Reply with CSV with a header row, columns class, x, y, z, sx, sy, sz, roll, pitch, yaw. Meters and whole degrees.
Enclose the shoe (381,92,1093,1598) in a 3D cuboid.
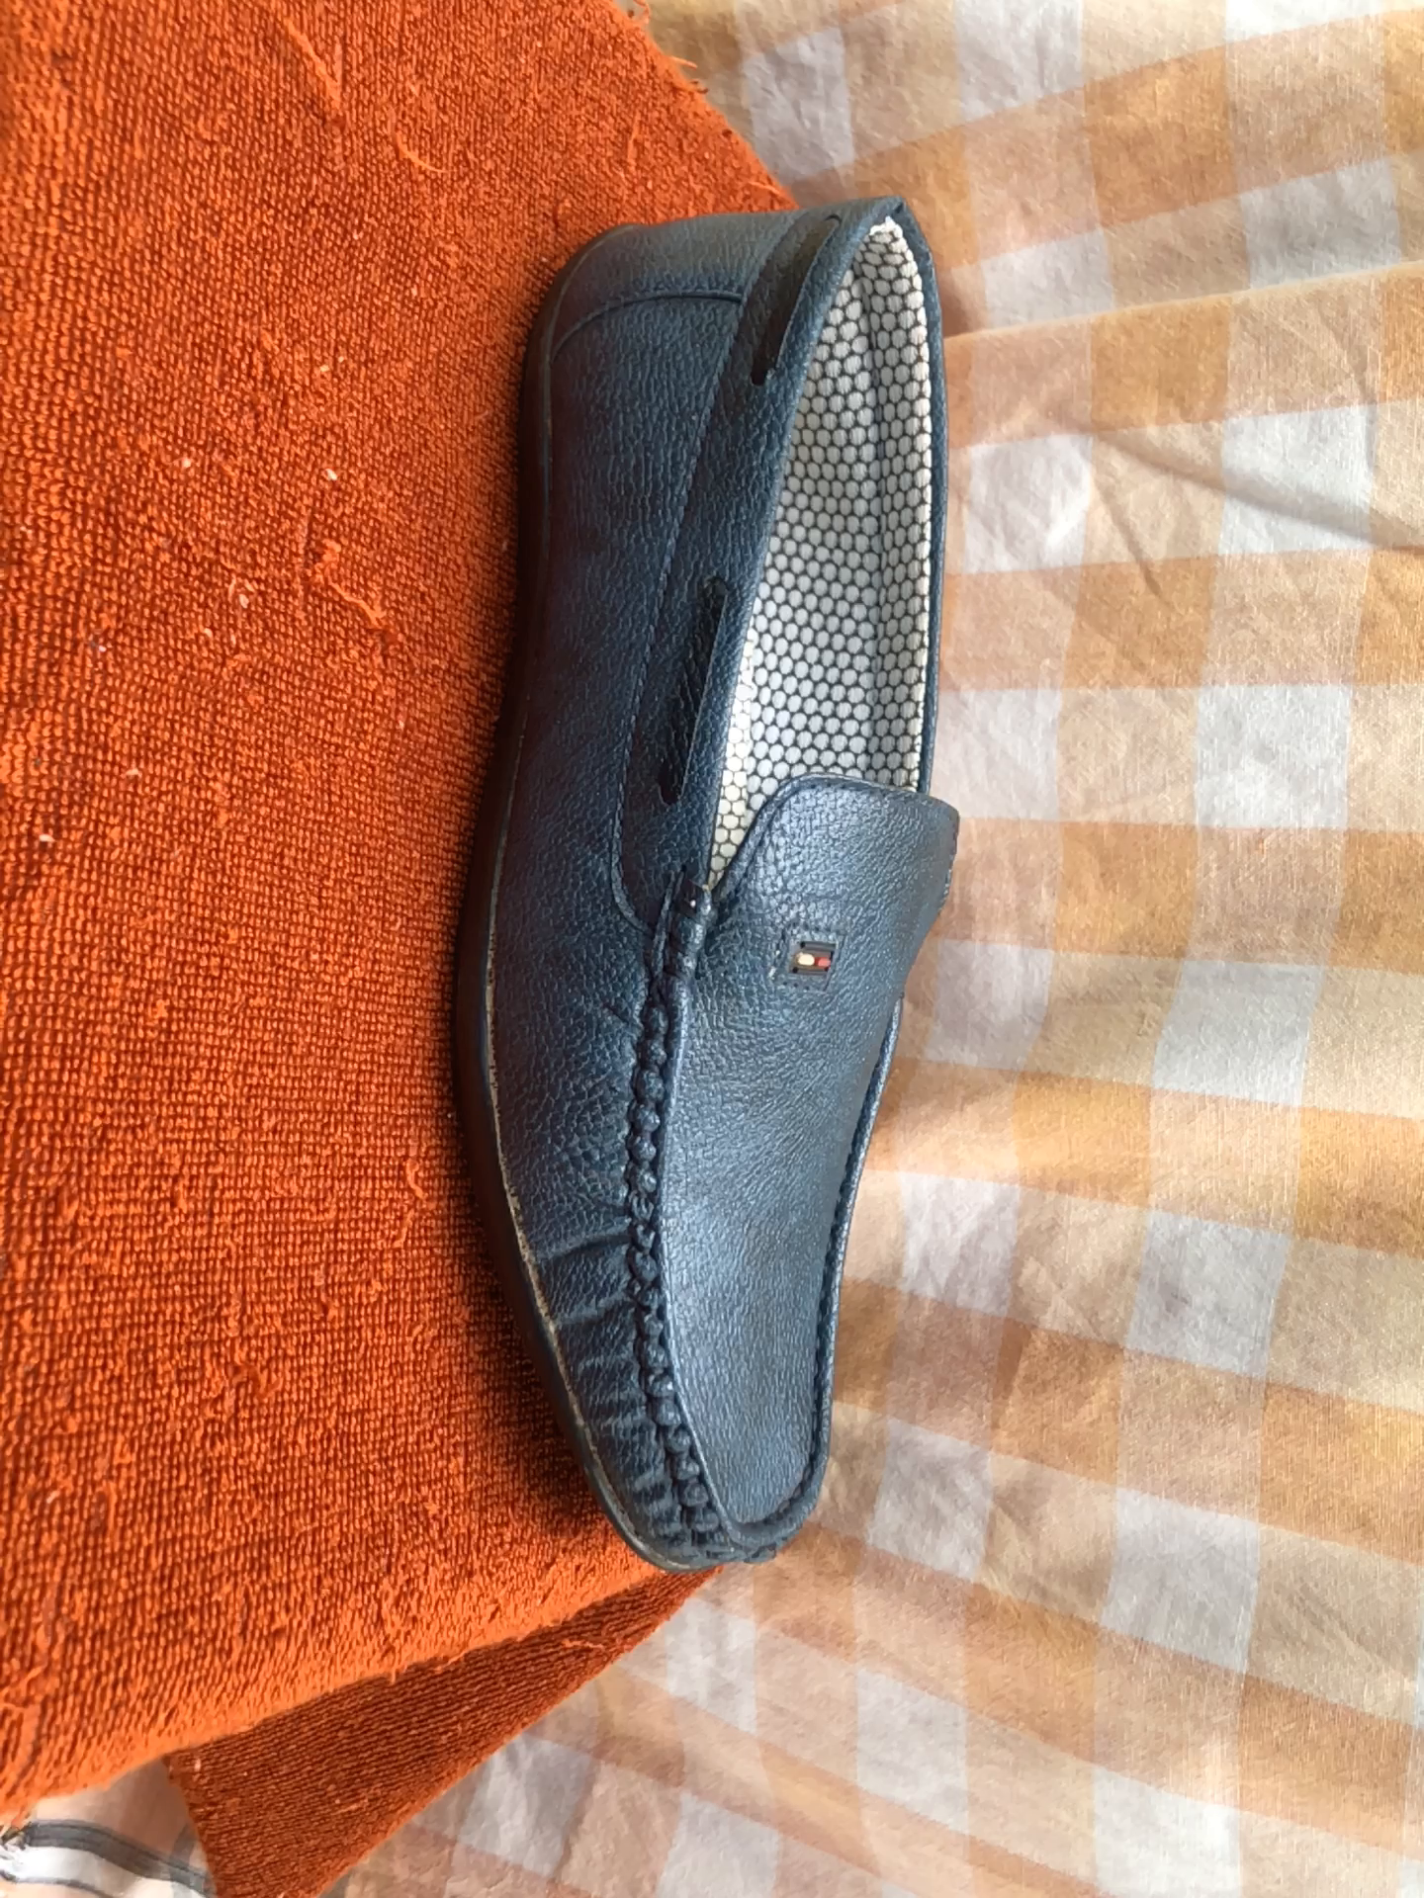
class,x,y,z,sx,sy,sz,roll,pitch,yaw
shoe,0.013,-0.018,0.333,0.101,0.089,0.260,16,77,-58
